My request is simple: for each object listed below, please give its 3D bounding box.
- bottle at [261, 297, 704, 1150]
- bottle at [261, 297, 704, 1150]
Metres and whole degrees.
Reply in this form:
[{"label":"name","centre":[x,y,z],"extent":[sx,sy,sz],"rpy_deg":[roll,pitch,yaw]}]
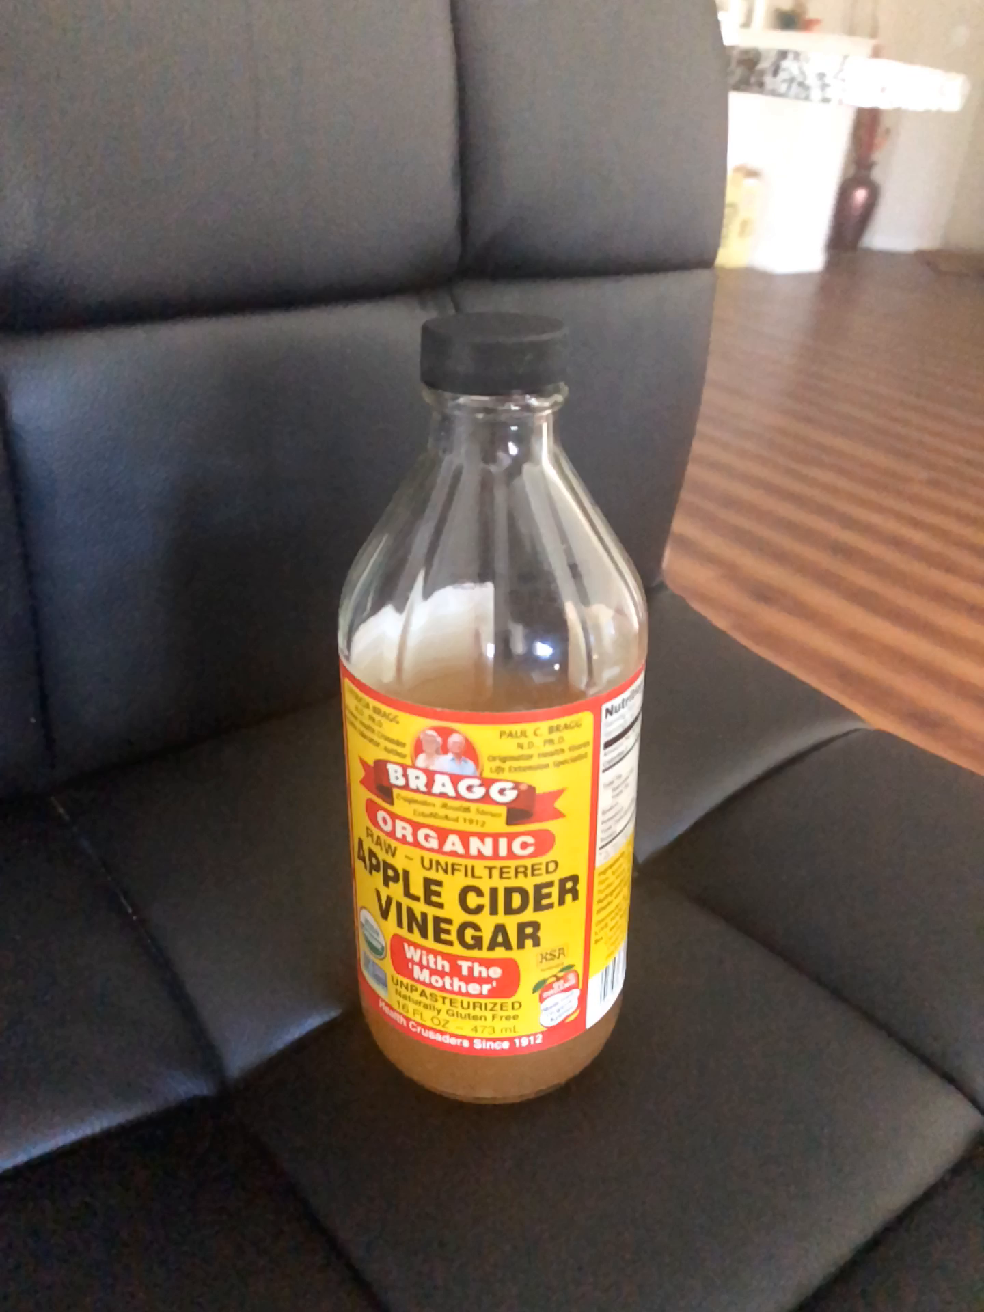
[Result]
[{"label":"bottle","centre":[0.000,0.014,0.259],"extent":[0.070,0.179,0.070],"rpy_deg":[1,24,0]},{"label":"bottle","centre":[0.000,0.014,0.259],"extent":[0.070,0.179,0.070],"rpy_deg":[1,24,0]}]
